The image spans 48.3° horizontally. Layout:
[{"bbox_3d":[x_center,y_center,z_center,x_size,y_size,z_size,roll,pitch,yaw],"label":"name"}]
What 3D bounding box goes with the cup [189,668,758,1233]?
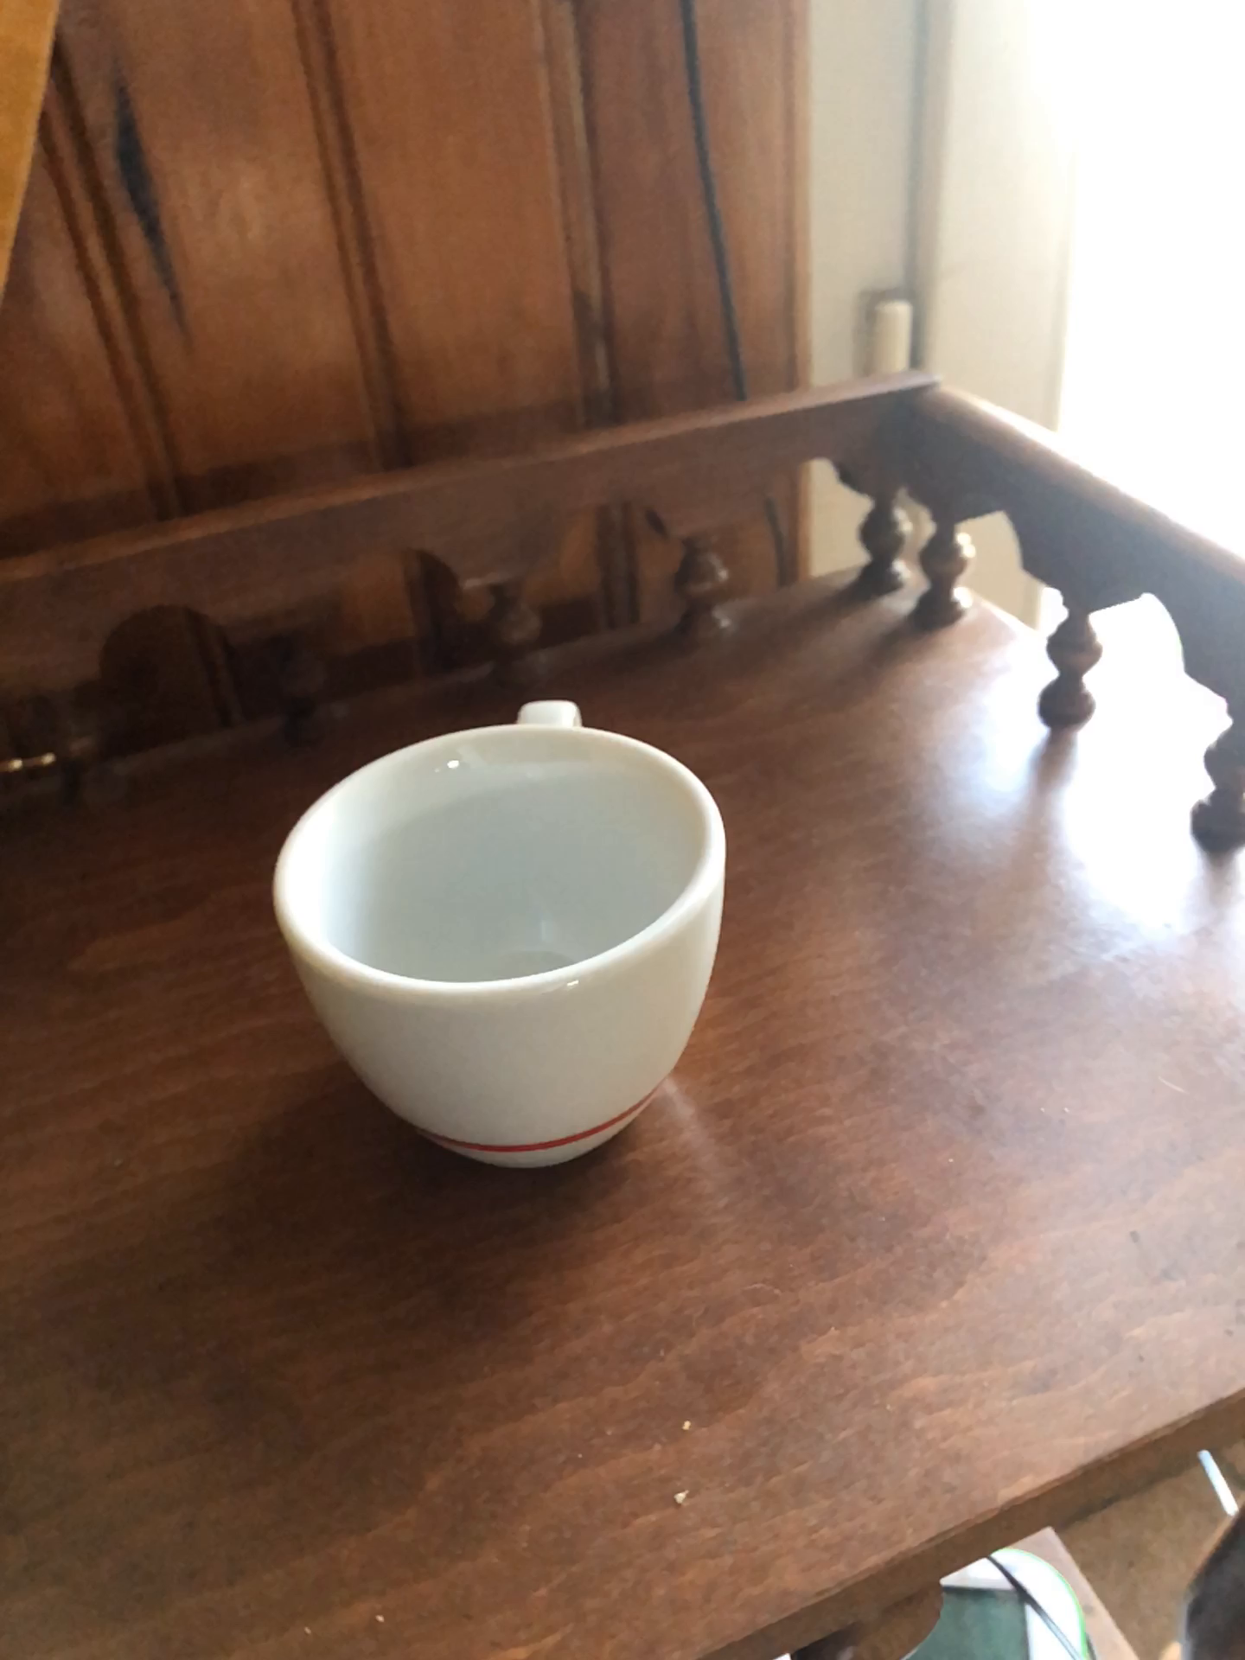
[{"bbox_3d":[-0.020,0.019,0.279,0.090,0.050,0.111,-2,36,5],"label":"cup"}]
